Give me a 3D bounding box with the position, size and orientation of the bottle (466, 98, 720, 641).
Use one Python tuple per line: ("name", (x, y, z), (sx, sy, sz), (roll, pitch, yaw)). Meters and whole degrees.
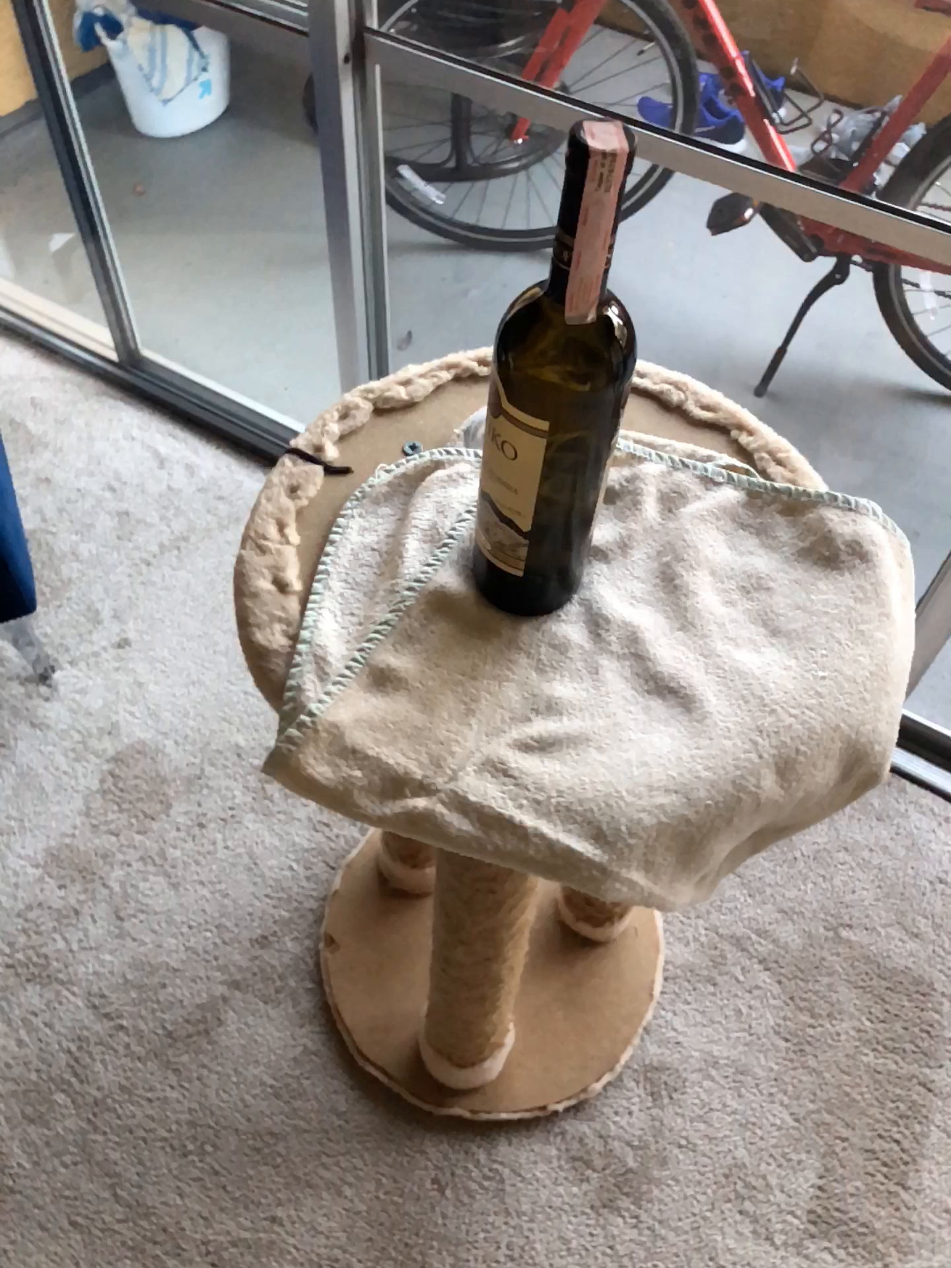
("bottle", (0.042, -0.110, 0.519), (0.080, 0.269, 0.080), (1, 54, -2))
